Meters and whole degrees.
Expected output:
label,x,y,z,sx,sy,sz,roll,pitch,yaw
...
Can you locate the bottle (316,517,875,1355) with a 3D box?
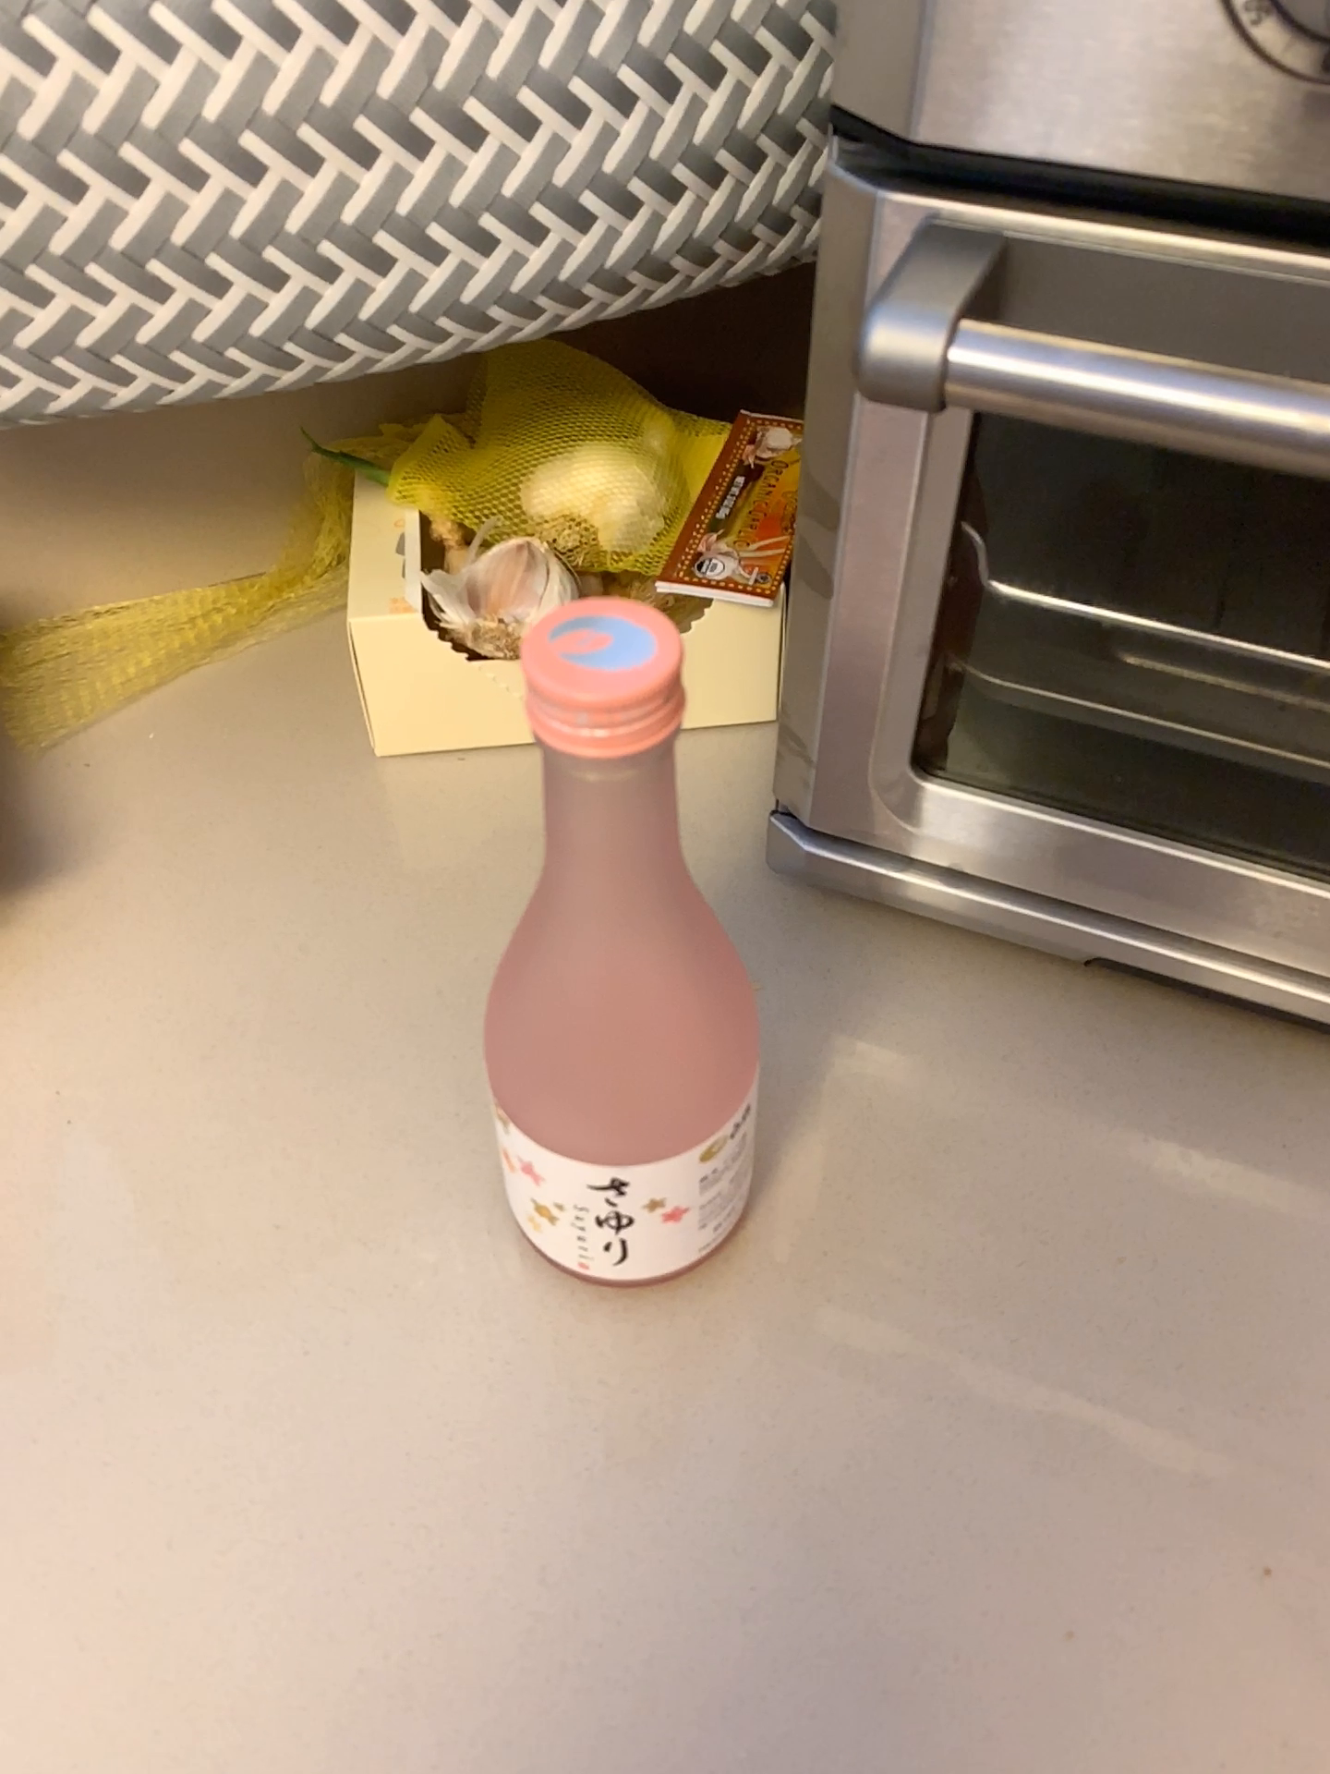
label,x,y,z,sx,sy,sz,roll,pitch,yaw
bottle,-0.010,0.020,0.299,0.070,0.169,0.070,0,47,0
